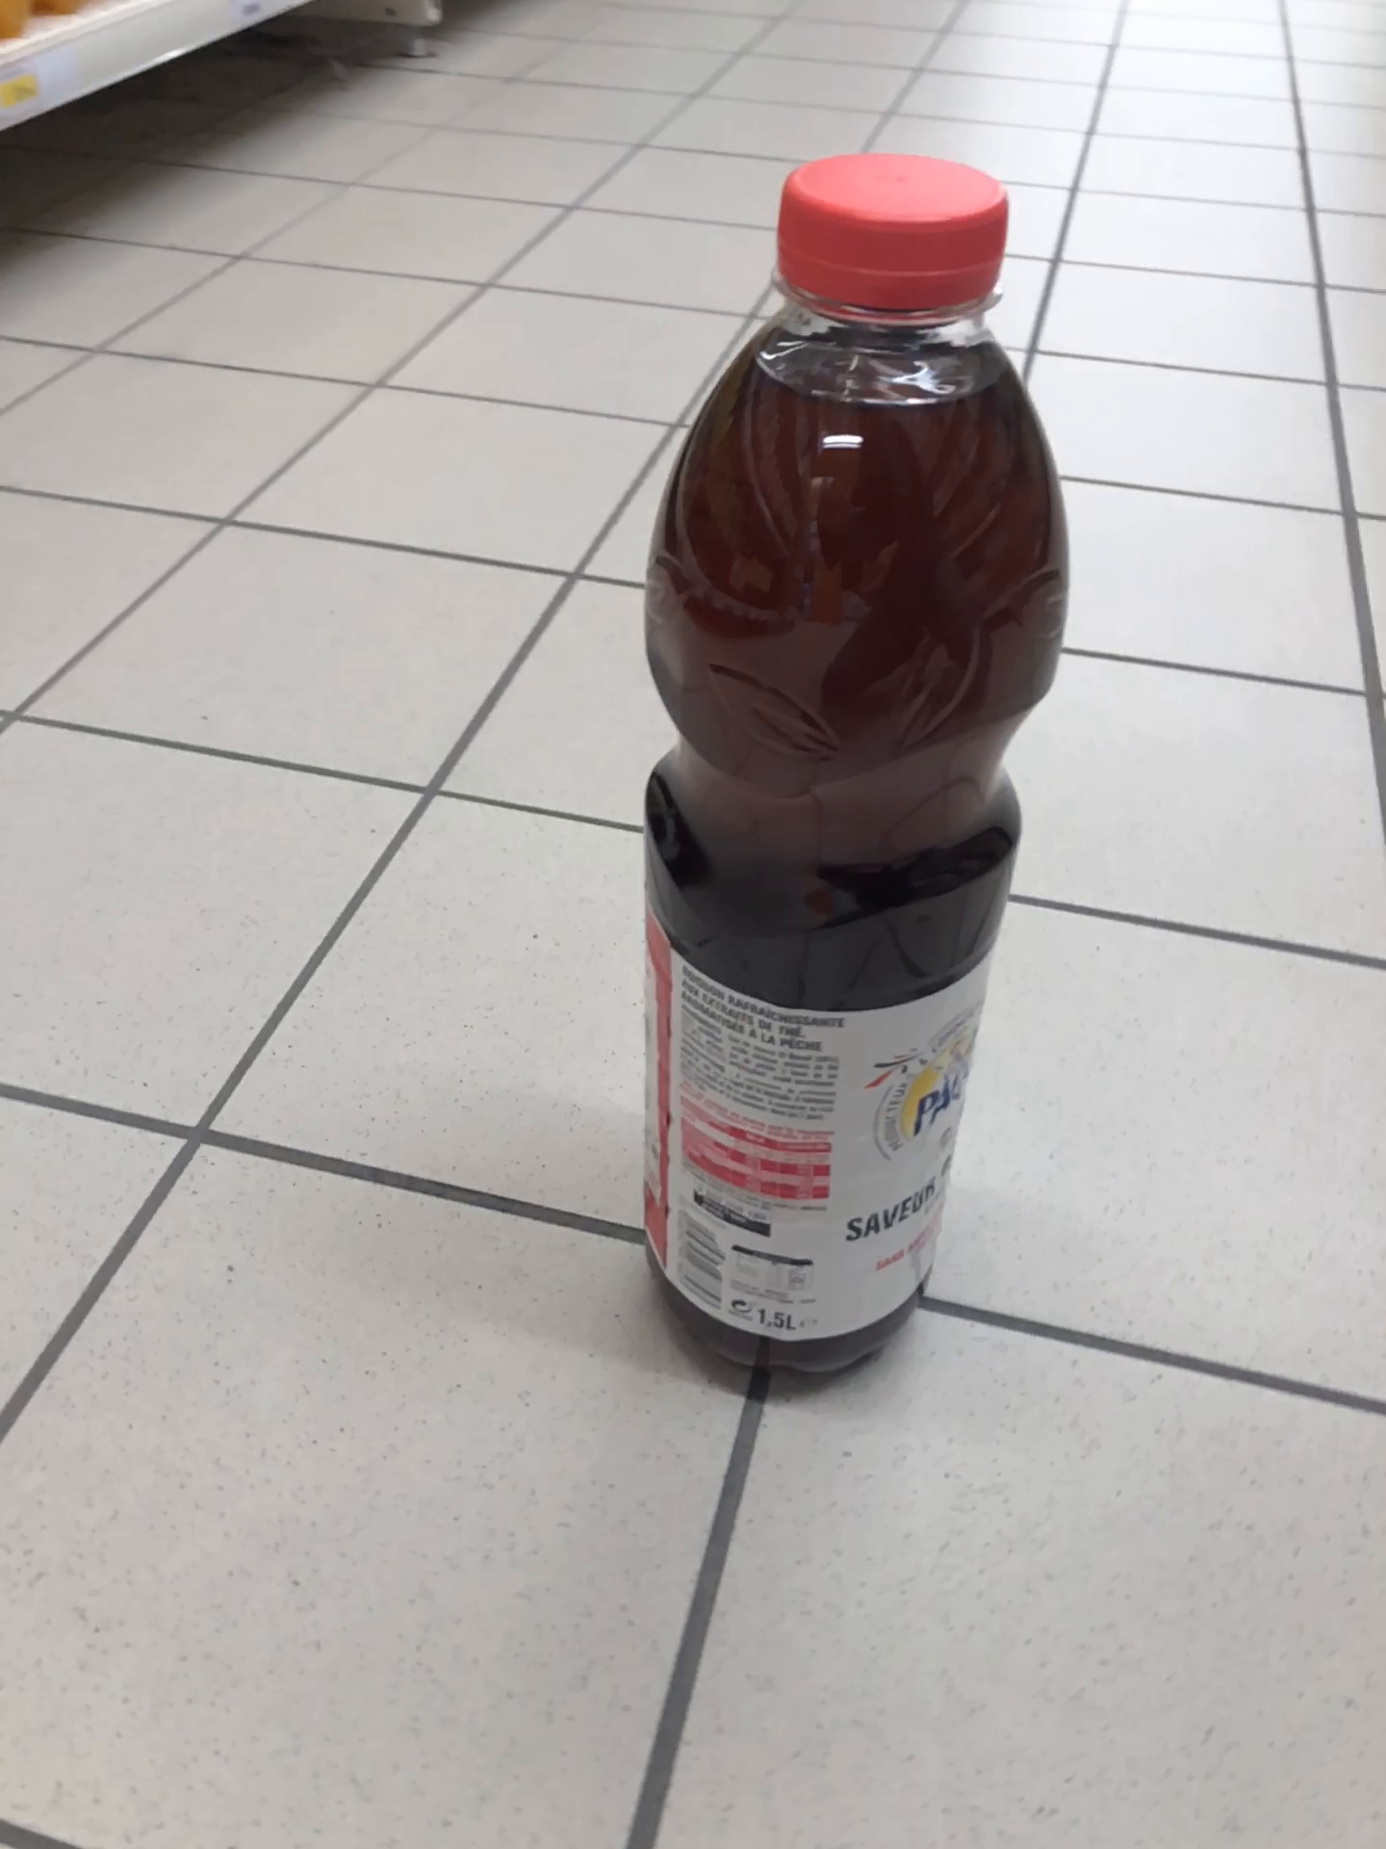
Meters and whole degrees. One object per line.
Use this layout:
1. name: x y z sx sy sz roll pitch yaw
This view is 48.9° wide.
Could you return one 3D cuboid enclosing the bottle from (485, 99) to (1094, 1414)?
1. bottle: 0.018 -0.016 0.350 0.090 0.288 0.091 1 40 -1
